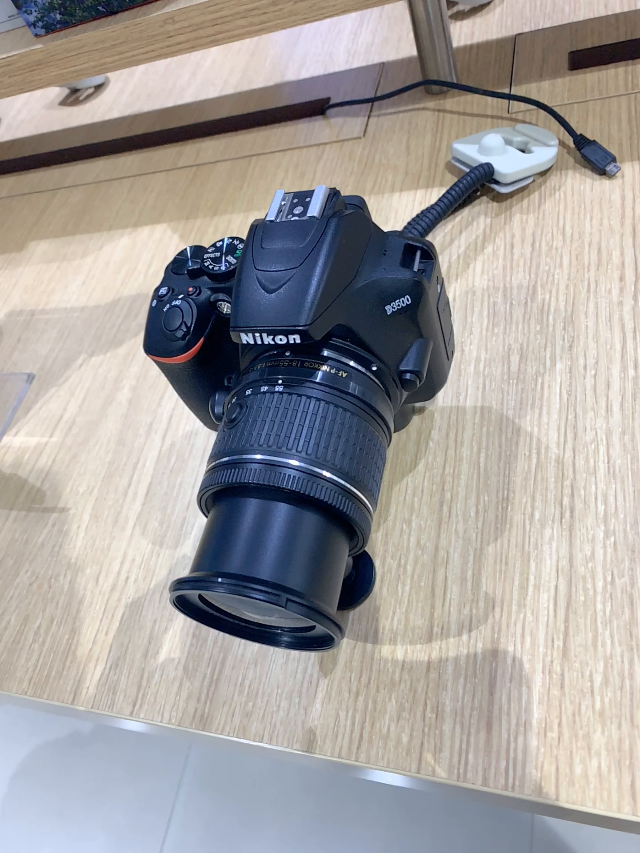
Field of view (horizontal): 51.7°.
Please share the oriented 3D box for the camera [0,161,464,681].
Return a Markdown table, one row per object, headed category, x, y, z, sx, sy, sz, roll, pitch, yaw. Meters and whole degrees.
| category | x | y | z | sx | sy | sz | roll | pitch | yaw |
| --- | --- | --- | --- | --- | --- | --- | --- | --- | --- |
| camera | -0.021 | 0.000 | 0.226 | 0.117 | 0.095 | 0.131 | 0 | 57 | 21 |
